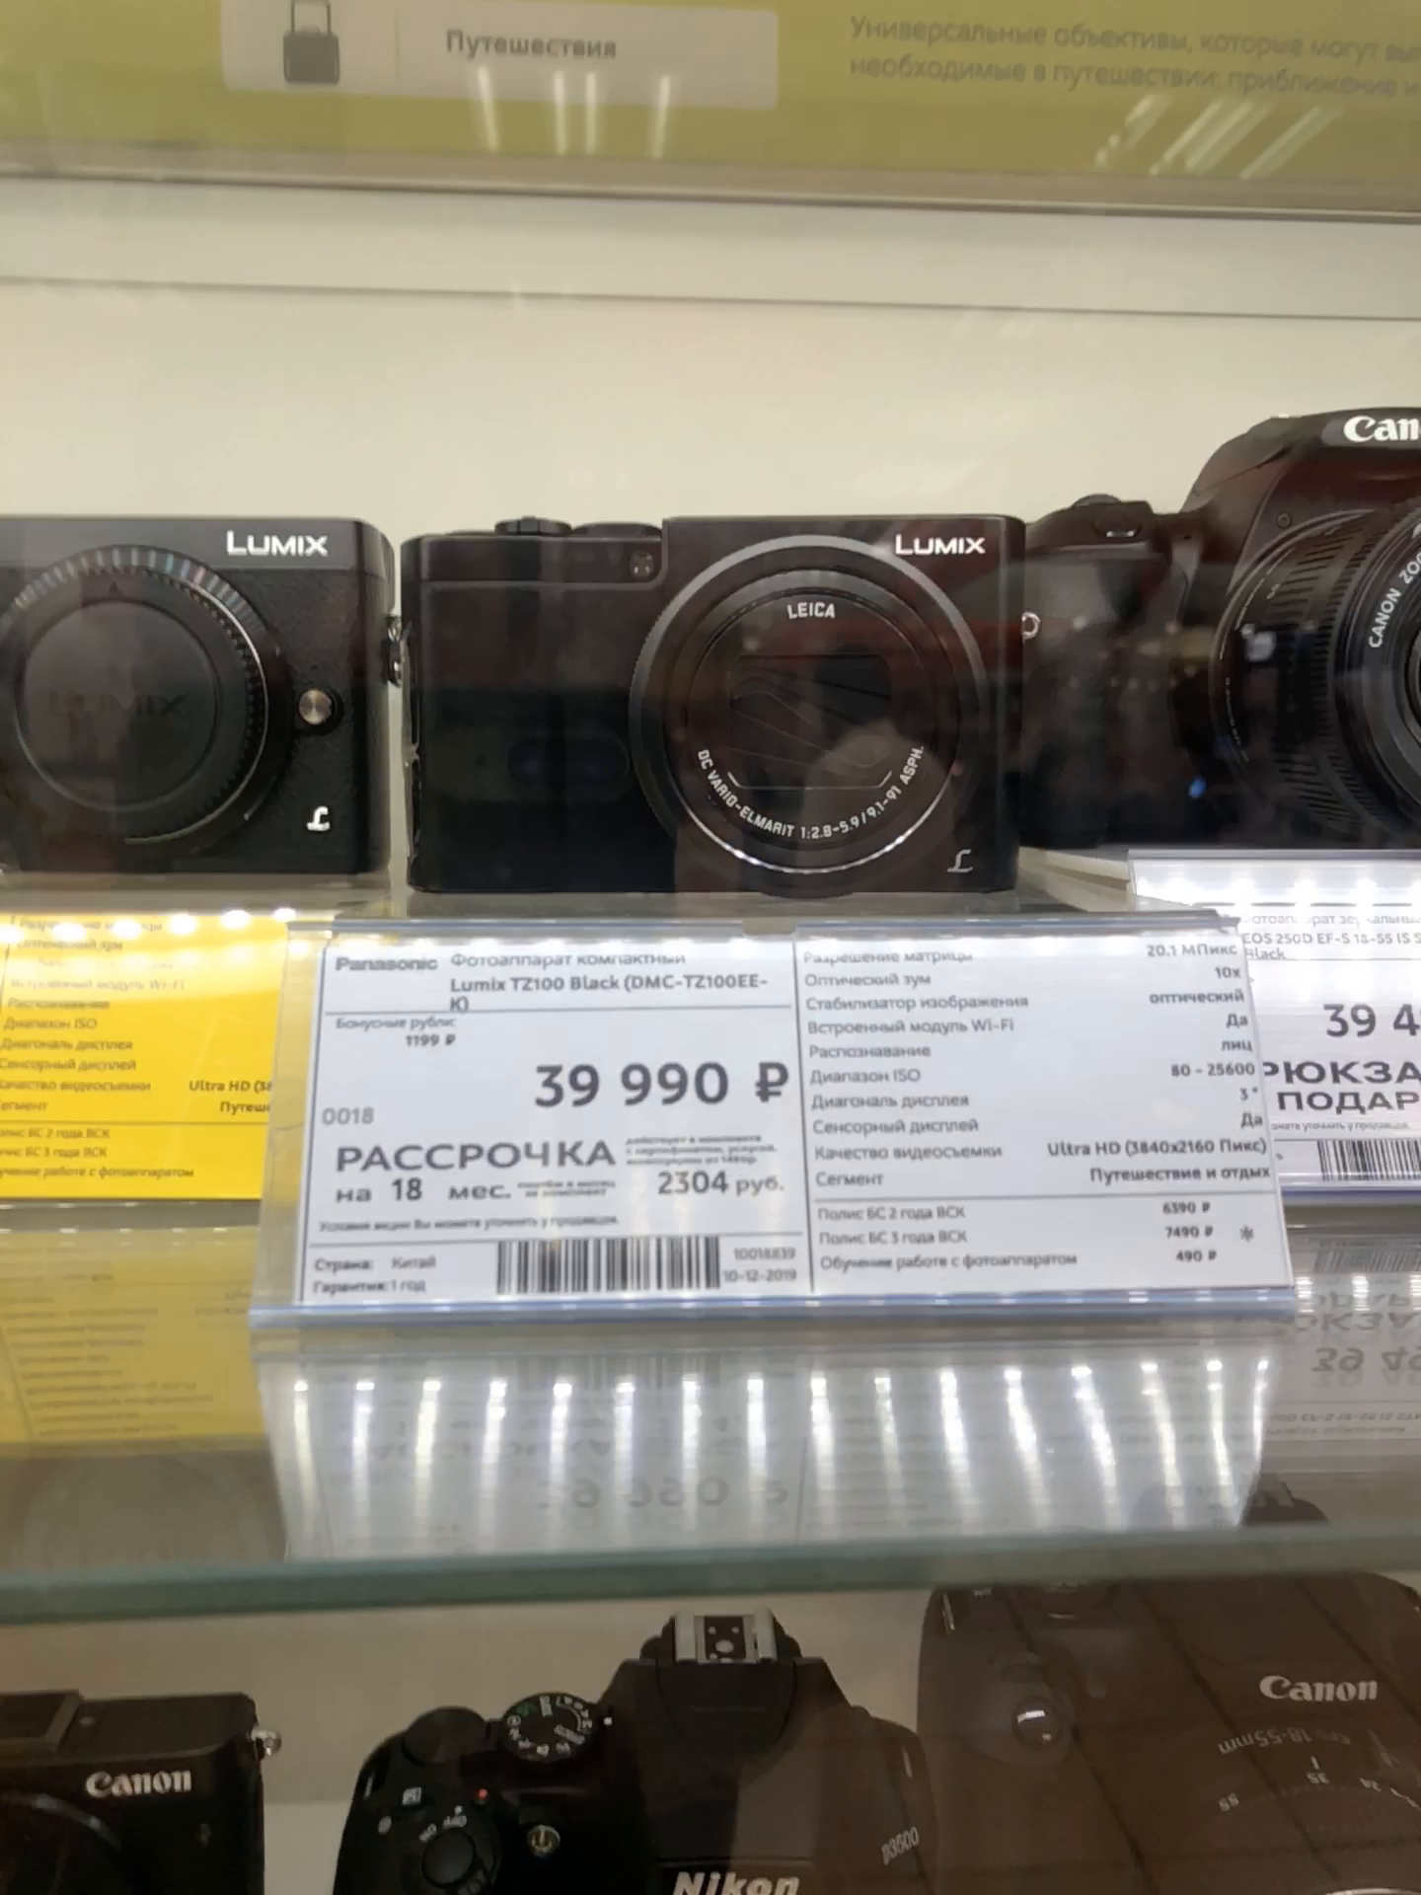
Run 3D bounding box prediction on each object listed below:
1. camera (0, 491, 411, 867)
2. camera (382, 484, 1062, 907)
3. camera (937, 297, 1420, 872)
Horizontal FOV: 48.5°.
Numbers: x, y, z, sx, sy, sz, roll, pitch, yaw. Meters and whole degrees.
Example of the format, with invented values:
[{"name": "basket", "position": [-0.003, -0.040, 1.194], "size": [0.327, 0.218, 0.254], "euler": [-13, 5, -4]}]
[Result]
[{"name": "camera", "position": [-0.120, -0.052, 0.321], "size": [0.108, 0.068, 0.055], "euler": [0, 6, -2]}, {"name": "camera", "position": [0.001, -0.043, 0.279], "size": [0.111, 0.068, 0.038], "euler": [0, 6, -2]}, {"name": "camera", "position": [0.146, -0.075, 0.363], "size": [0.157, 0.099, 0.164], "euler": [0, 8, -2]}]
